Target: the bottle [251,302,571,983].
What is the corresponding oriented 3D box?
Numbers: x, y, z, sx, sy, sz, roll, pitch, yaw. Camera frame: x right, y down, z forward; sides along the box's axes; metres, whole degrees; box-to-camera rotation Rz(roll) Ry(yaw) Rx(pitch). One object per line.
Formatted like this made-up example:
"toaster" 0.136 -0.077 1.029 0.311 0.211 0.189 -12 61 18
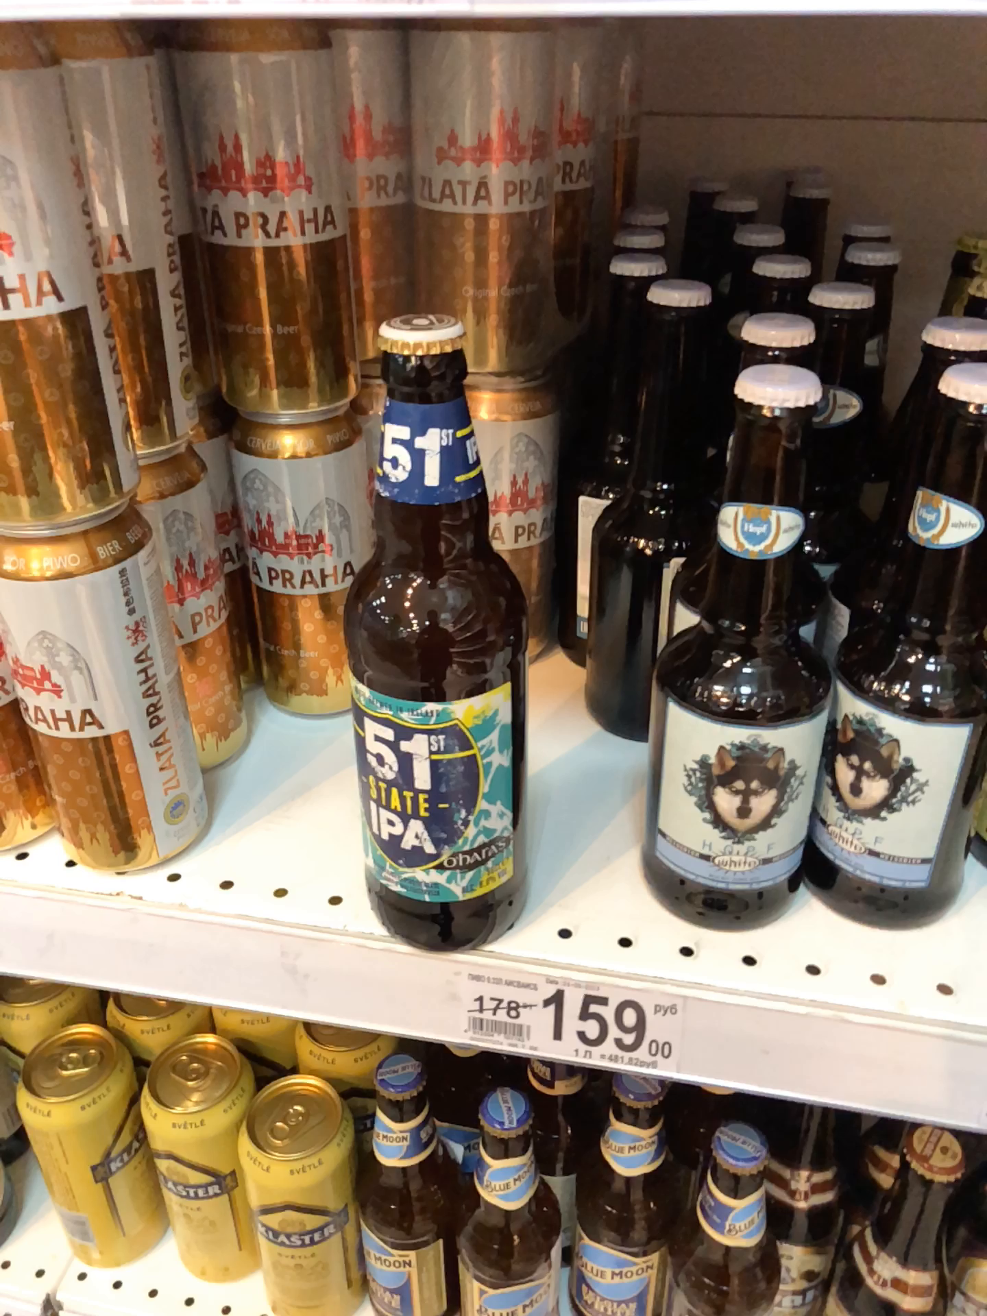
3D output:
"bottle" -0.024 0.001 0.405 0.080 0.239 0.070 10 32 17
